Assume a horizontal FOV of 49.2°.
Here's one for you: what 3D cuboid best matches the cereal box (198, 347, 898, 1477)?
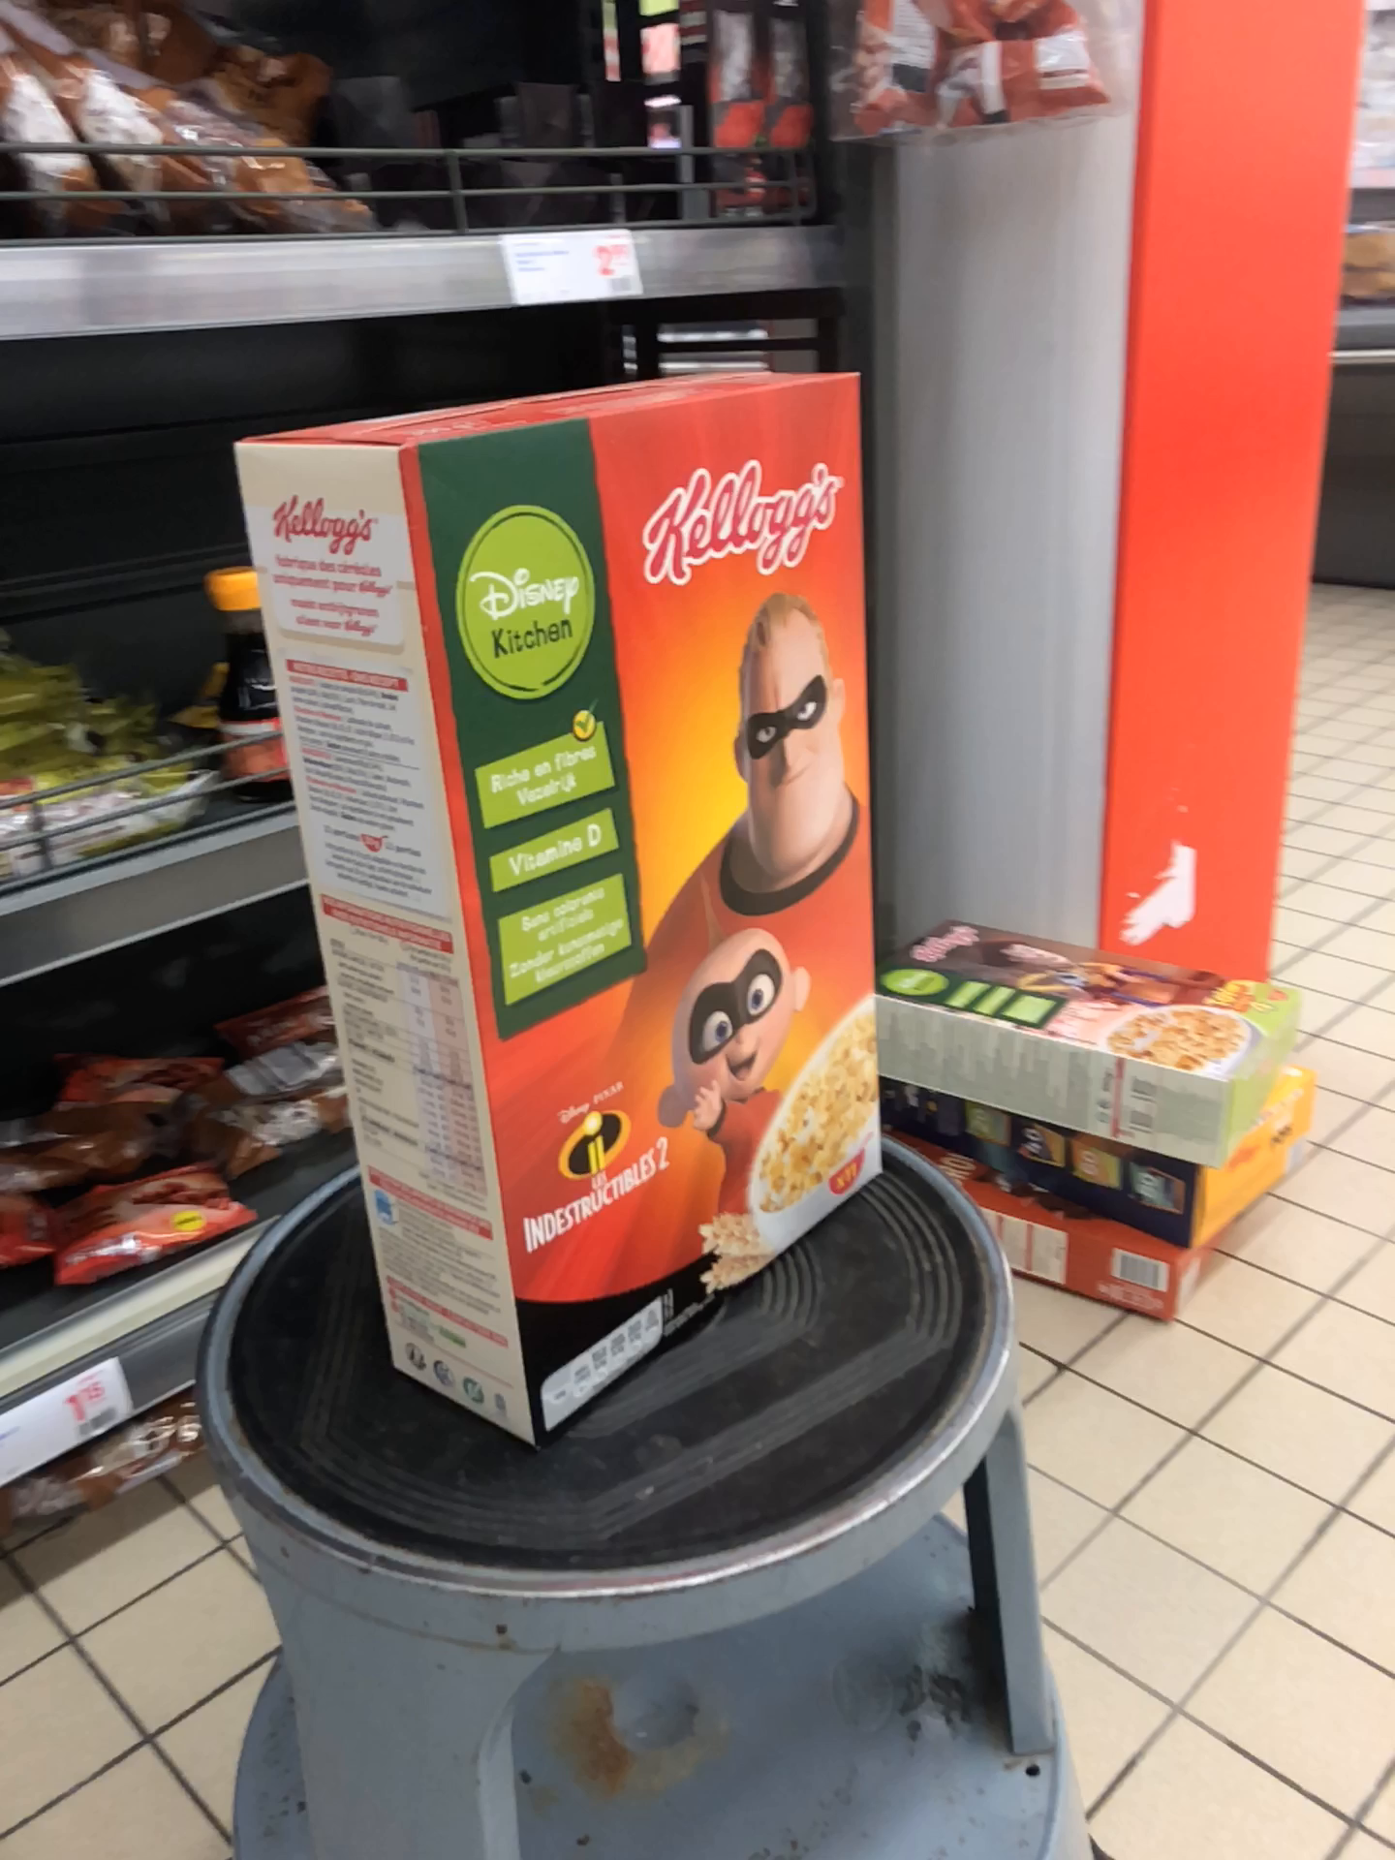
[{"bbox_3d":[-0.025,-0.018,0.498,0.080,0.308,0.201,15,28,38],"label":"cereal box"}]
